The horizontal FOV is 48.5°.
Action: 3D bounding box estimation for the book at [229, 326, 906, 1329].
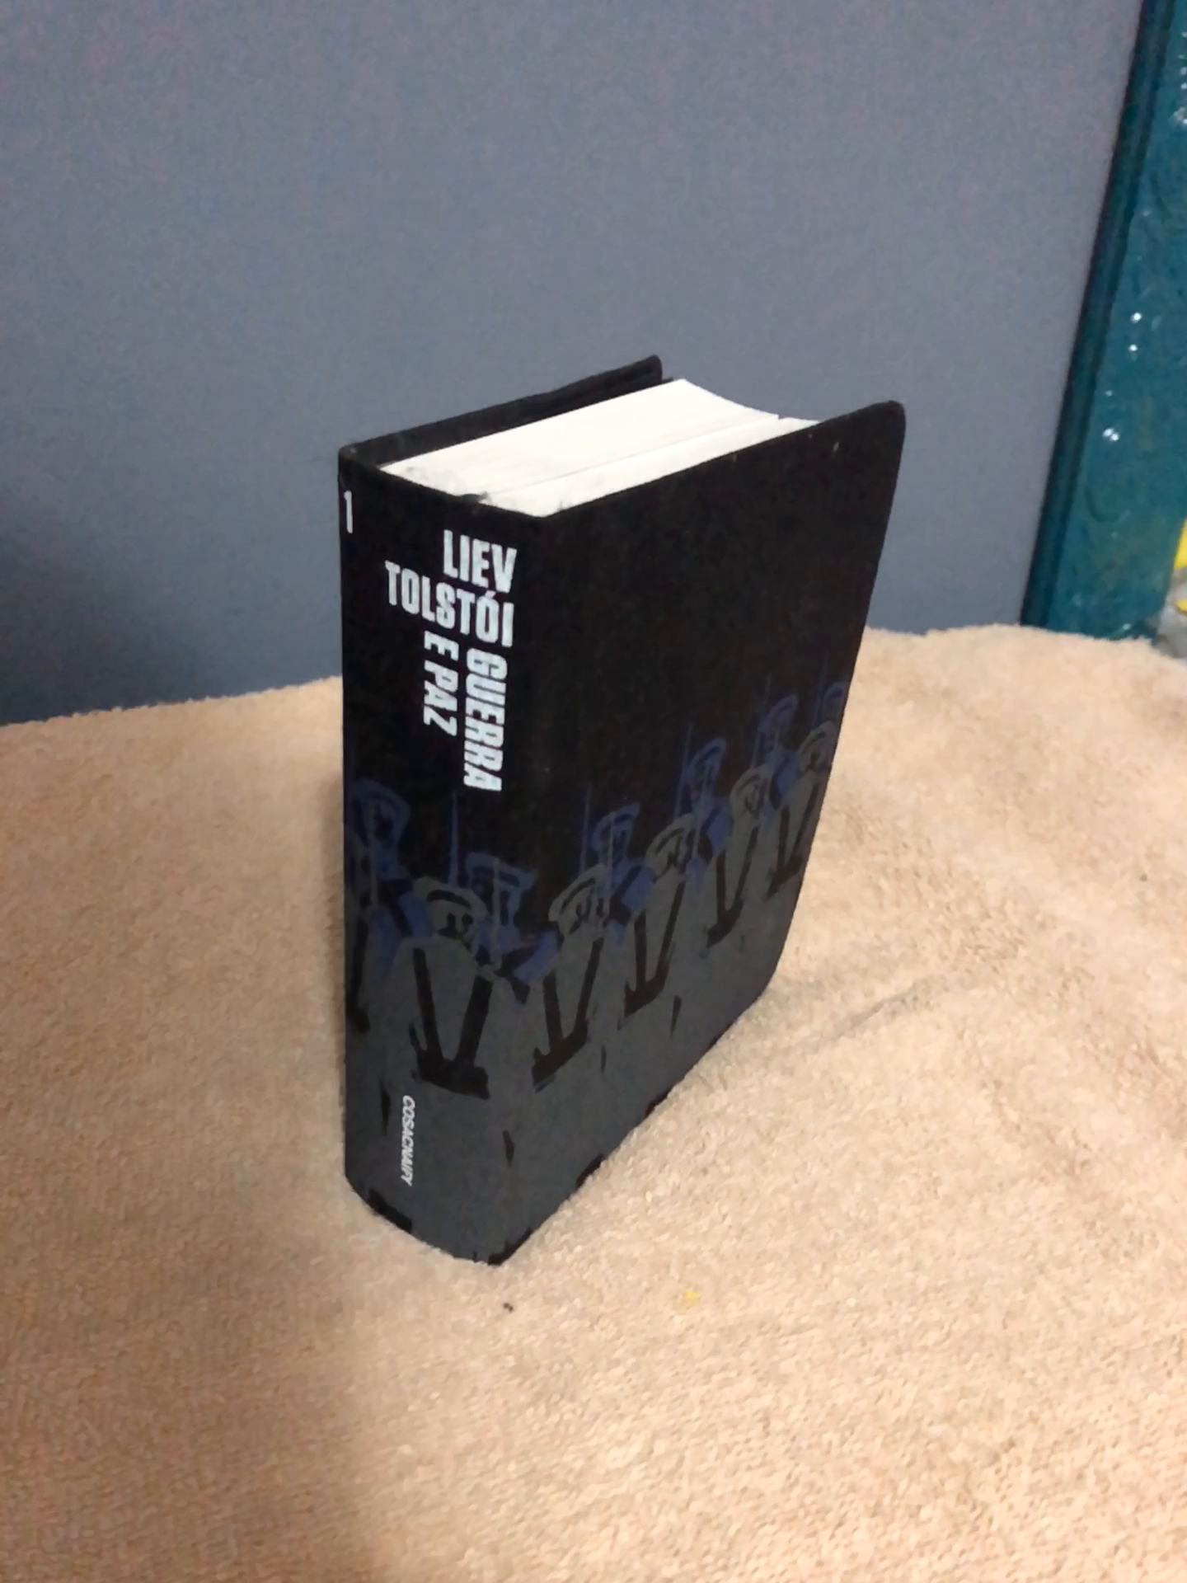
[{"bbox_3d":[-0.001,-0.001,0.308,0.060,0.179,0.151,22,34,27],"label":"book"}]
